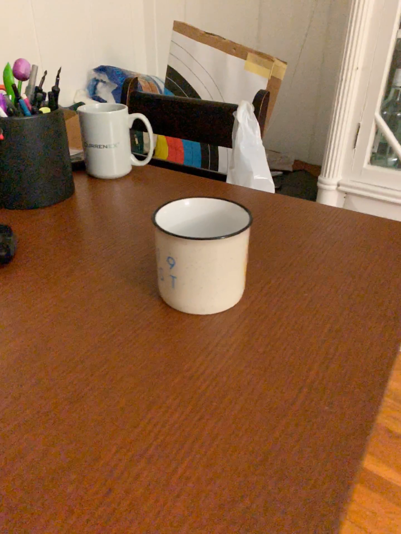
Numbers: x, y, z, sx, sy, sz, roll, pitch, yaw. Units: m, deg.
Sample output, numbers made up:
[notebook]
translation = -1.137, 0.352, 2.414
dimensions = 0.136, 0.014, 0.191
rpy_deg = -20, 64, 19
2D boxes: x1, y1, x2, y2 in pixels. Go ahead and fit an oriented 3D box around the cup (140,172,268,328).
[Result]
[cup]
translation = -0.005, -0.027, 0.440
dimensions = 0.100, 0.099, 0.151
rpy_deg = -6, 32, -10
